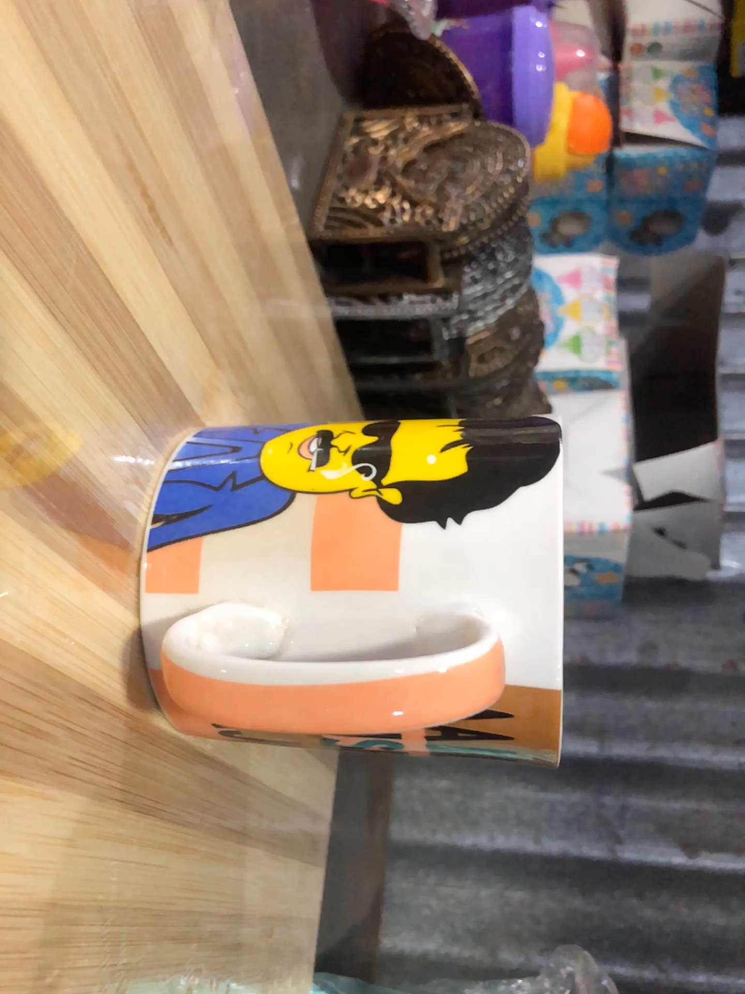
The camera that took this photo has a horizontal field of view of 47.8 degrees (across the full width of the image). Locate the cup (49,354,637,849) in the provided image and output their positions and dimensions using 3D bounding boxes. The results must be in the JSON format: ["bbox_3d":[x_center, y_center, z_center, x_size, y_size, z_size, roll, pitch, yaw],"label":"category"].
[{"bbox_3d":[0.003,0.008,0.187,0.110,0.090,0.070,-56,146,-72],"label":"cup"}]
